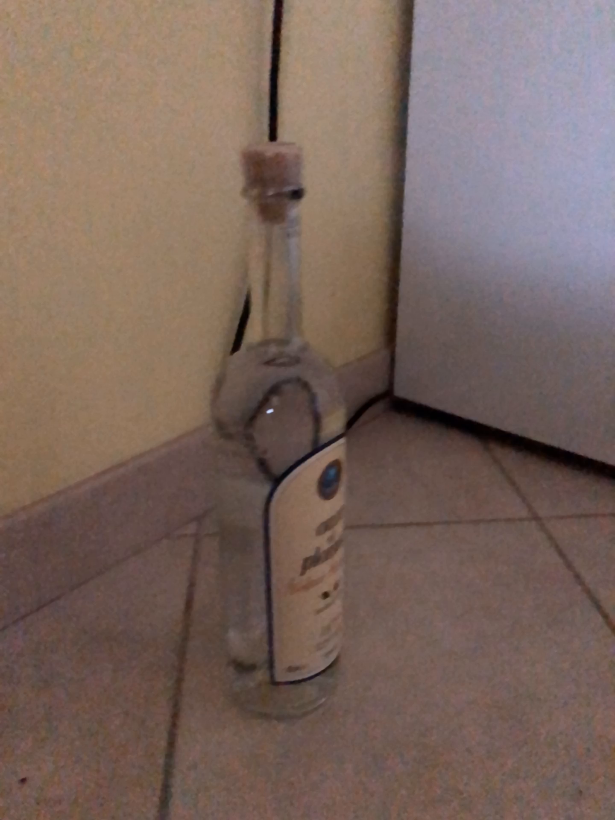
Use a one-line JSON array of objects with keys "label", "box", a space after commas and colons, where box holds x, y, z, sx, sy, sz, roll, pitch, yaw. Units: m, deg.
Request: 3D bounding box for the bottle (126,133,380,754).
[{"label": "bottle", "box": [-0.023, 0.024, 0.366, 0.080, 0.318, 0.080, 0, 24, 0]}]
